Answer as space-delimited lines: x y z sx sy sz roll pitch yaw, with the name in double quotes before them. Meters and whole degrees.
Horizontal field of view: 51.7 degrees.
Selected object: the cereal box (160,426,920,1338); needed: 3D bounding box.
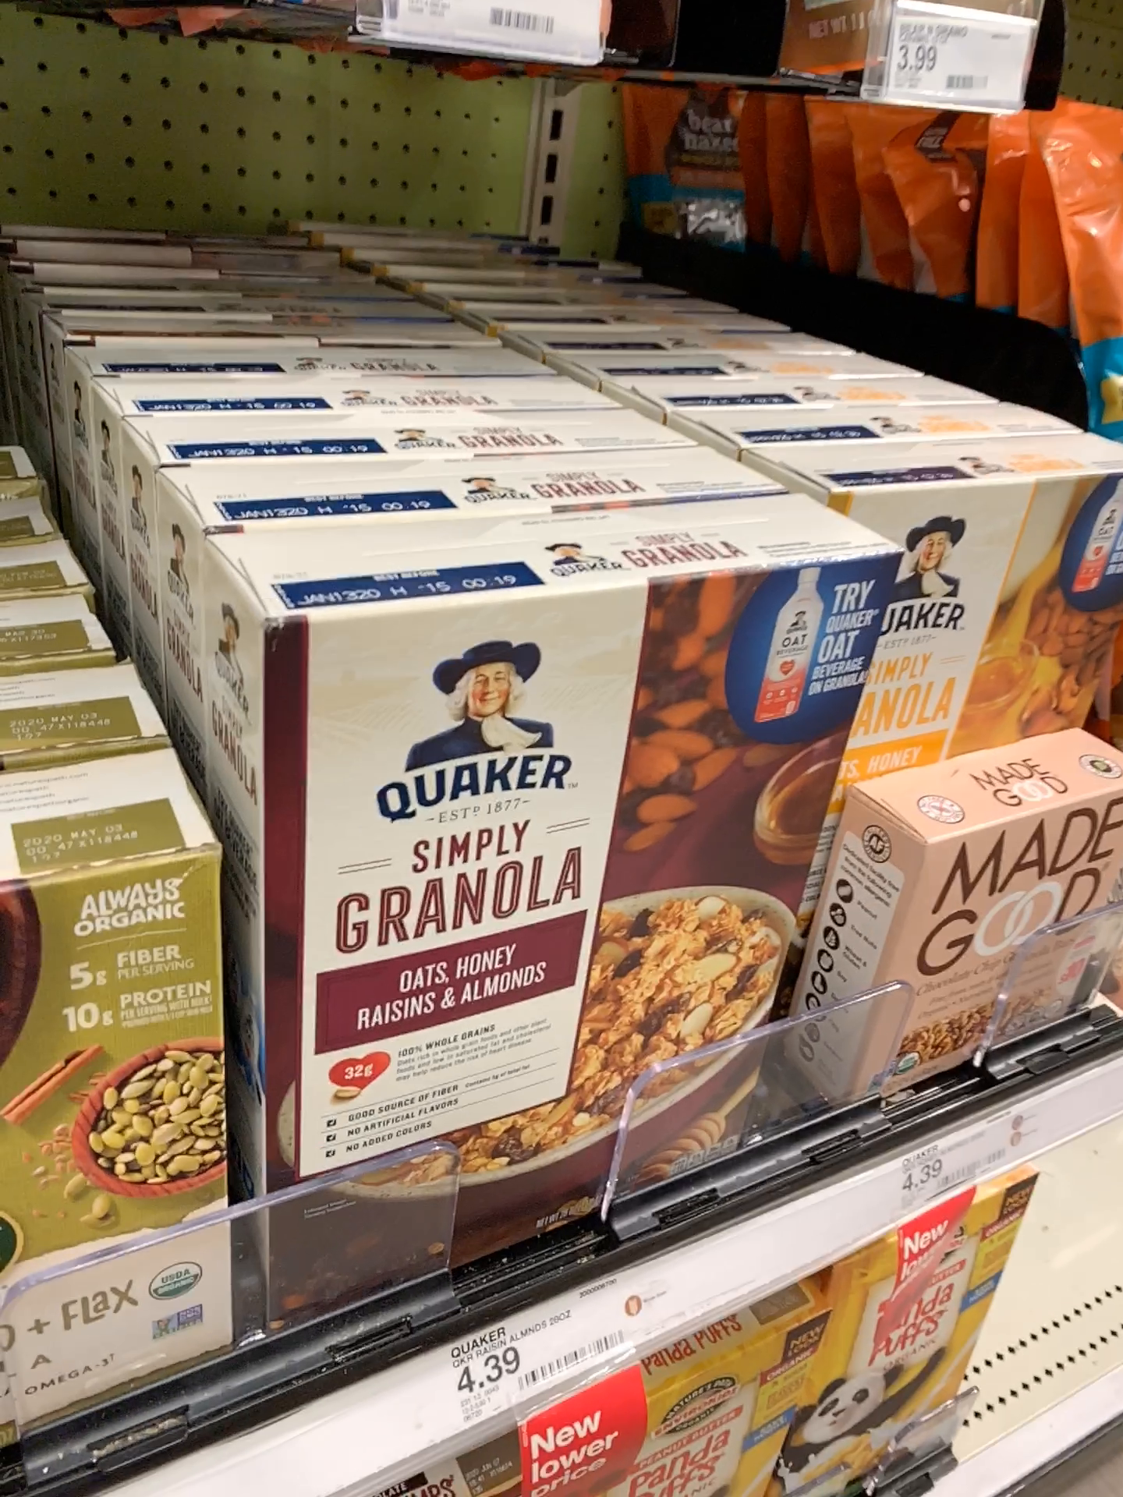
"cereal box" -0.014 0.039 0.346 0.180 0.249 0.060 -11 36 -29
